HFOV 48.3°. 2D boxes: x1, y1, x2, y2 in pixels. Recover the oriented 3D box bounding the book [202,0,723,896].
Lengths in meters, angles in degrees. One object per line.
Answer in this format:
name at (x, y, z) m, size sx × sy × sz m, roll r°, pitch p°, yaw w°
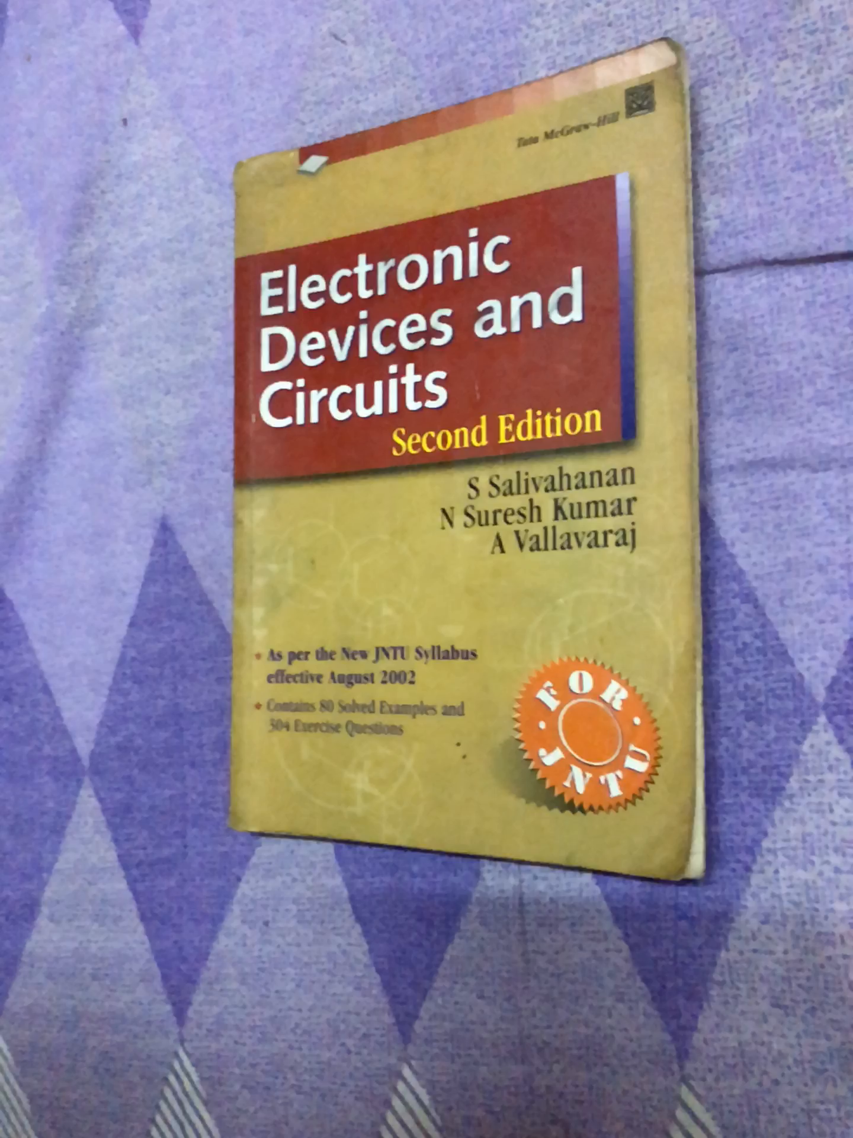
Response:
book at (0.004, -0.032, 0.304) m, size 0.160 × 0.040 × 0.240 m, roll -3°, pitch 85°, yaw 27°
